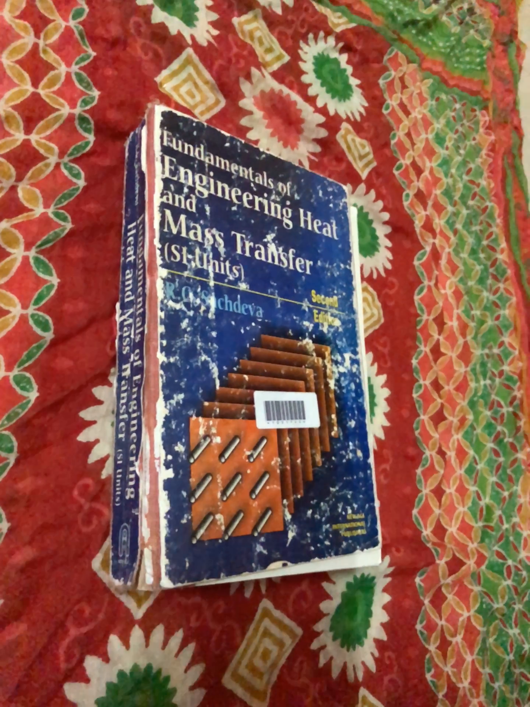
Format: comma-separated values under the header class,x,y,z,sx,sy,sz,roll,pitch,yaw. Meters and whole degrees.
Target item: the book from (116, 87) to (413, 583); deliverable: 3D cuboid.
class,x,y,z,sx,sy,sz,roll,pitch,yaw
book,0.003,-0.005,0.305,0.151,0.043,0.208,7,75,-39
